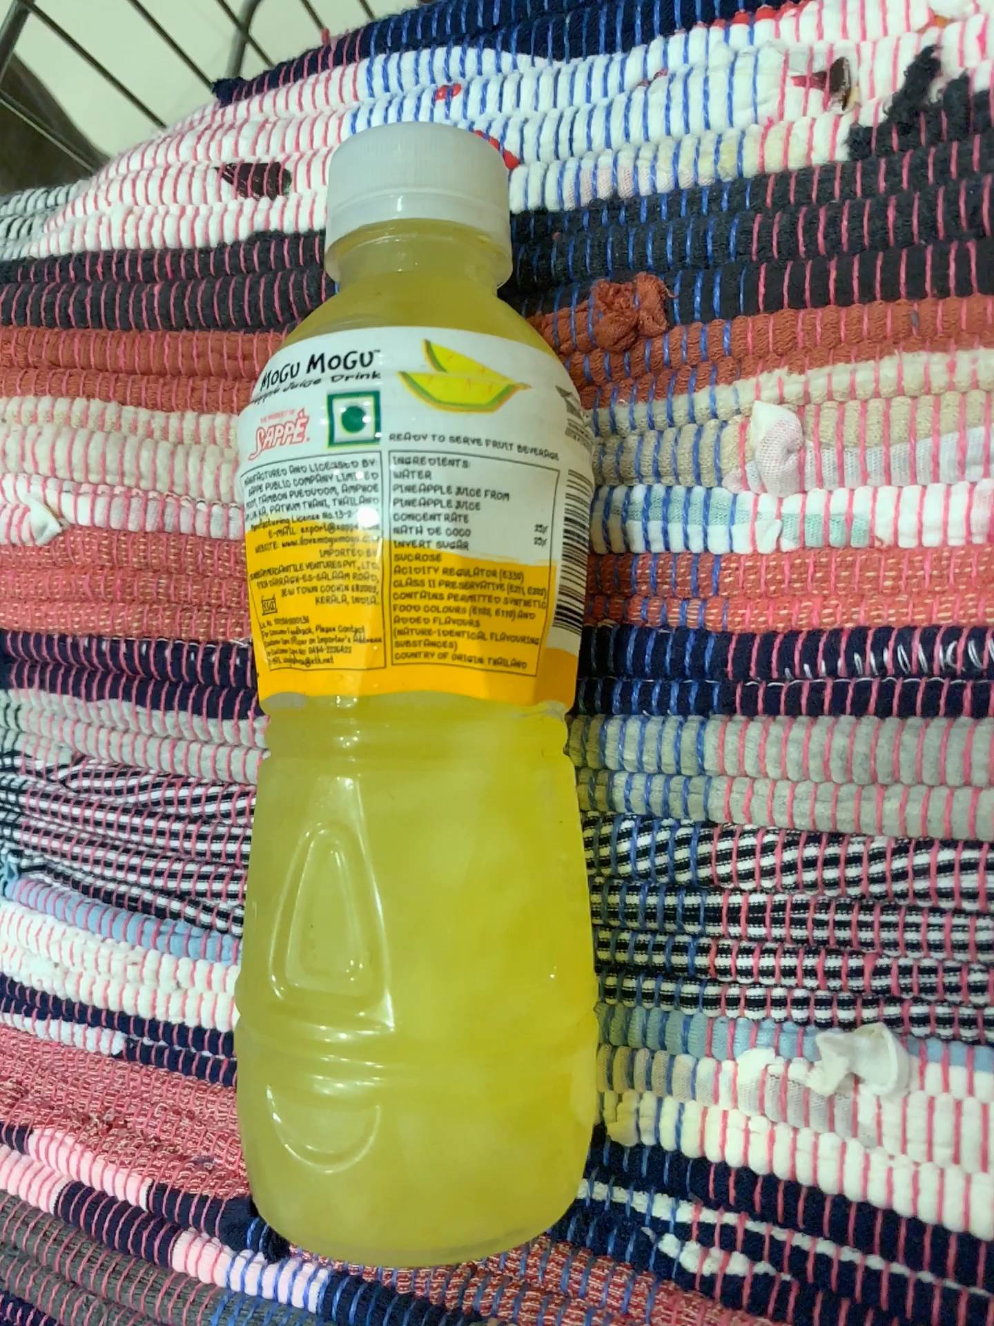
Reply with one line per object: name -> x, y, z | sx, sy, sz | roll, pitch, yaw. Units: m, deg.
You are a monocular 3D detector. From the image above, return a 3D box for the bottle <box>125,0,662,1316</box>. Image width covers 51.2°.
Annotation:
bottle -> -0.011, -0.013, 0.170 | 0.060, 0.050, 0.190 | -1, 81, 26
